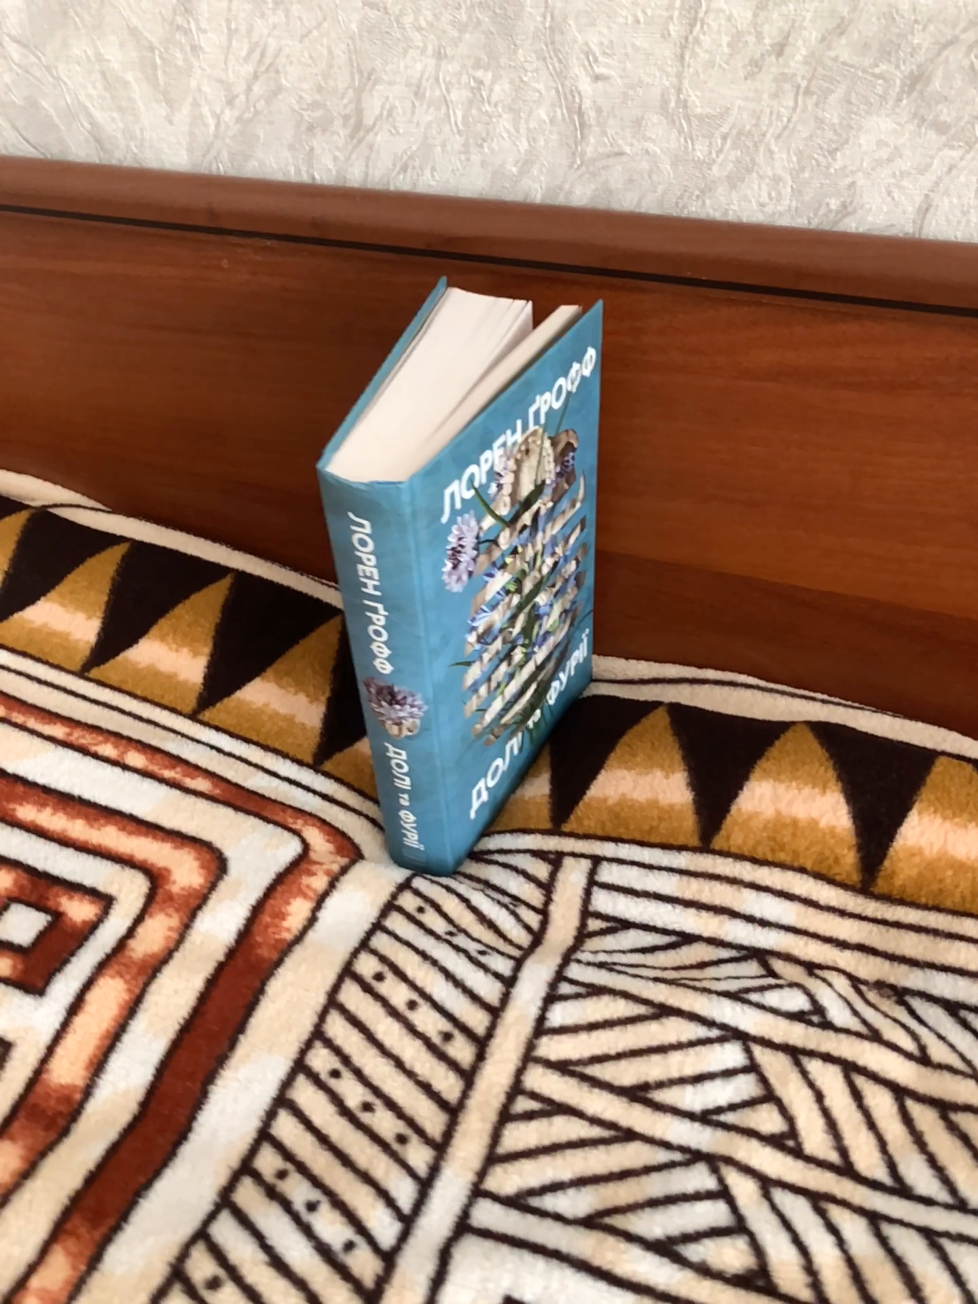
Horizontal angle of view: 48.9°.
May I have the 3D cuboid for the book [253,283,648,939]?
[{"bbox_3d":[-0.004,-0.016,0.438,0.078,0.199,0.161,15,45,17],"label":"book"}]
